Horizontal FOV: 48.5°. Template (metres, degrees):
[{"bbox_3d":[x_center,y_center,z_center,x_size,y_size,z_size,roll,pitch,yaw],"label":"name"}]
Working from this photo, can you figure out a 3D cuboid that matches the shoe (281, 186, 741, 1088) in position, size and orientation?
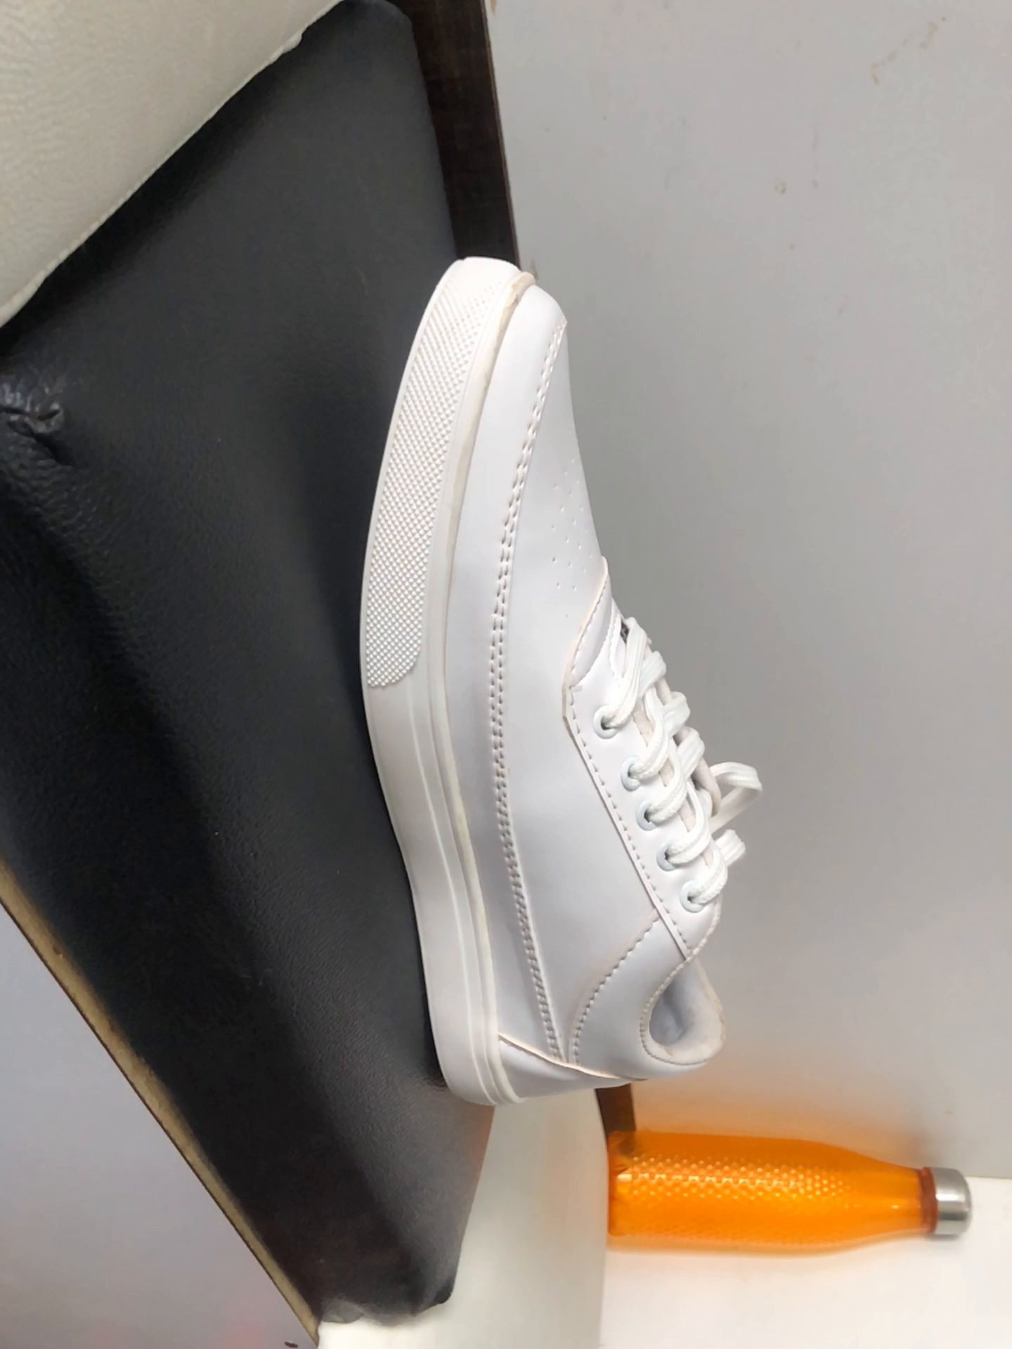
[{"bbox_3d":[0.026,-0.001,0.401,0.130,0.110,0.291,-76,161,-54],"label":"shoe"}]
